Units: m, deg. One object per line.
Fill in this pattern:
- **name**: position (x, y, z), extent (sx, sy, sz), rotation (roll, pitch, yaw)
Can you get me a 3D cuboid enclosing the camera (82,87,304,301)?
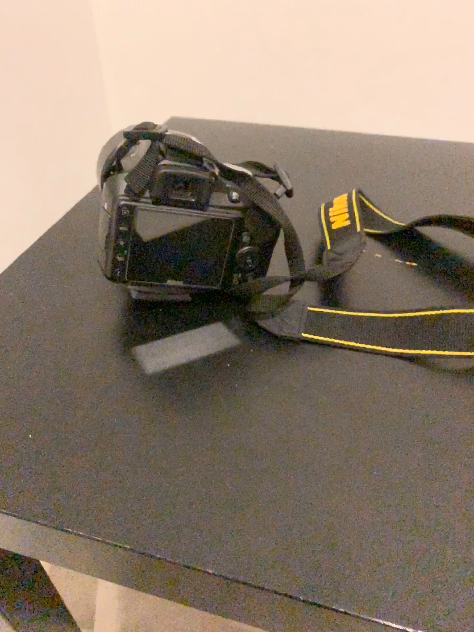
- **camera**: position (-0.055, -0.110, 0.405), extent (0.116, 0.089, 0.221), rotation (3, 31, -23)
